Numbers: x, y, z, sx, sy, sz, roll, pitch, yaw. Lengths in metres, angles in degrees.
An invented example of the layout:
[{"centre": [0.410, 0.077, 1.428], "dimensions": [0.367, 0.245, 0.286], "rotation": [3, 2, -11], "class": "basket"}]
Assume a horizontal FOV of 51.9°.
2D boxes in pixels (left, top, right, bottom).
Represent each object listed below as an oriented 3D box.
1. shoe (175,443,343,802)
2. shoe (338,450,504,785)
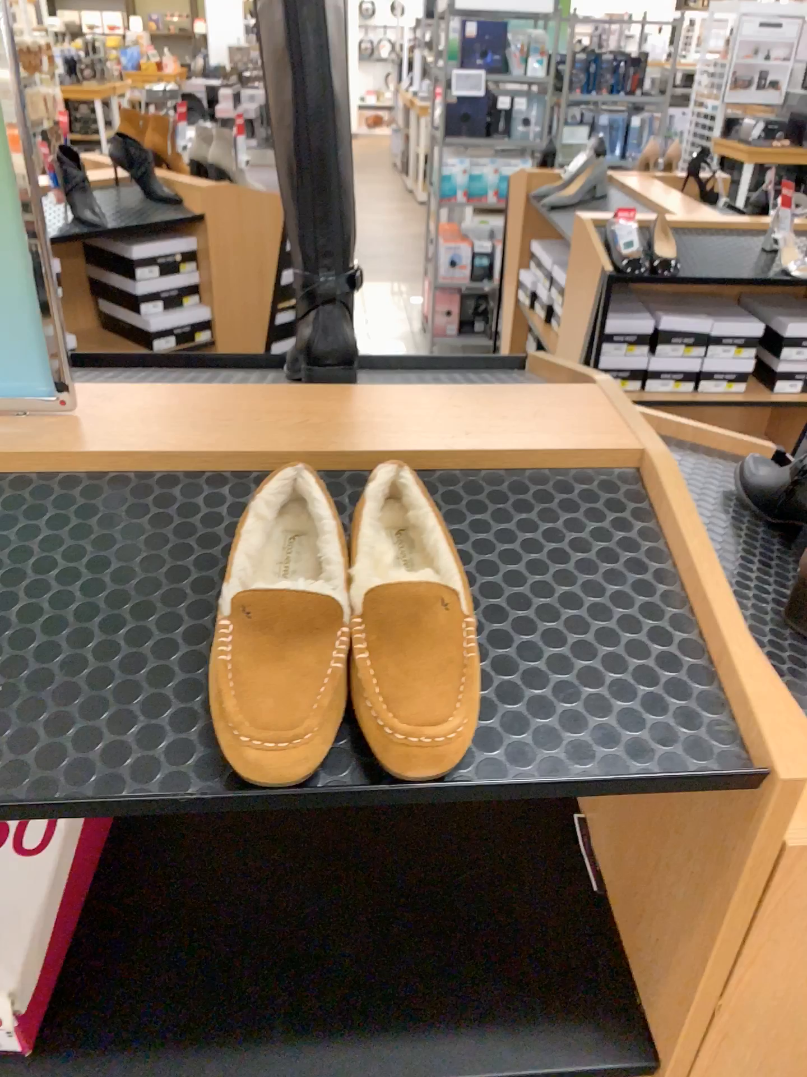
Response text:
[{"centre": [-0.089, 0.040, 0.569], "dimensions": [0.090, 0.060, 0.271], "rotation": [-1, 43, -5], "class": "shoe"}, {"centre": [0.002, 0.039, 0.571], "dimensions": [0.090, 0.060, 0.251], "rotation": [-1, 43, -5], "class": "shoe"}]
